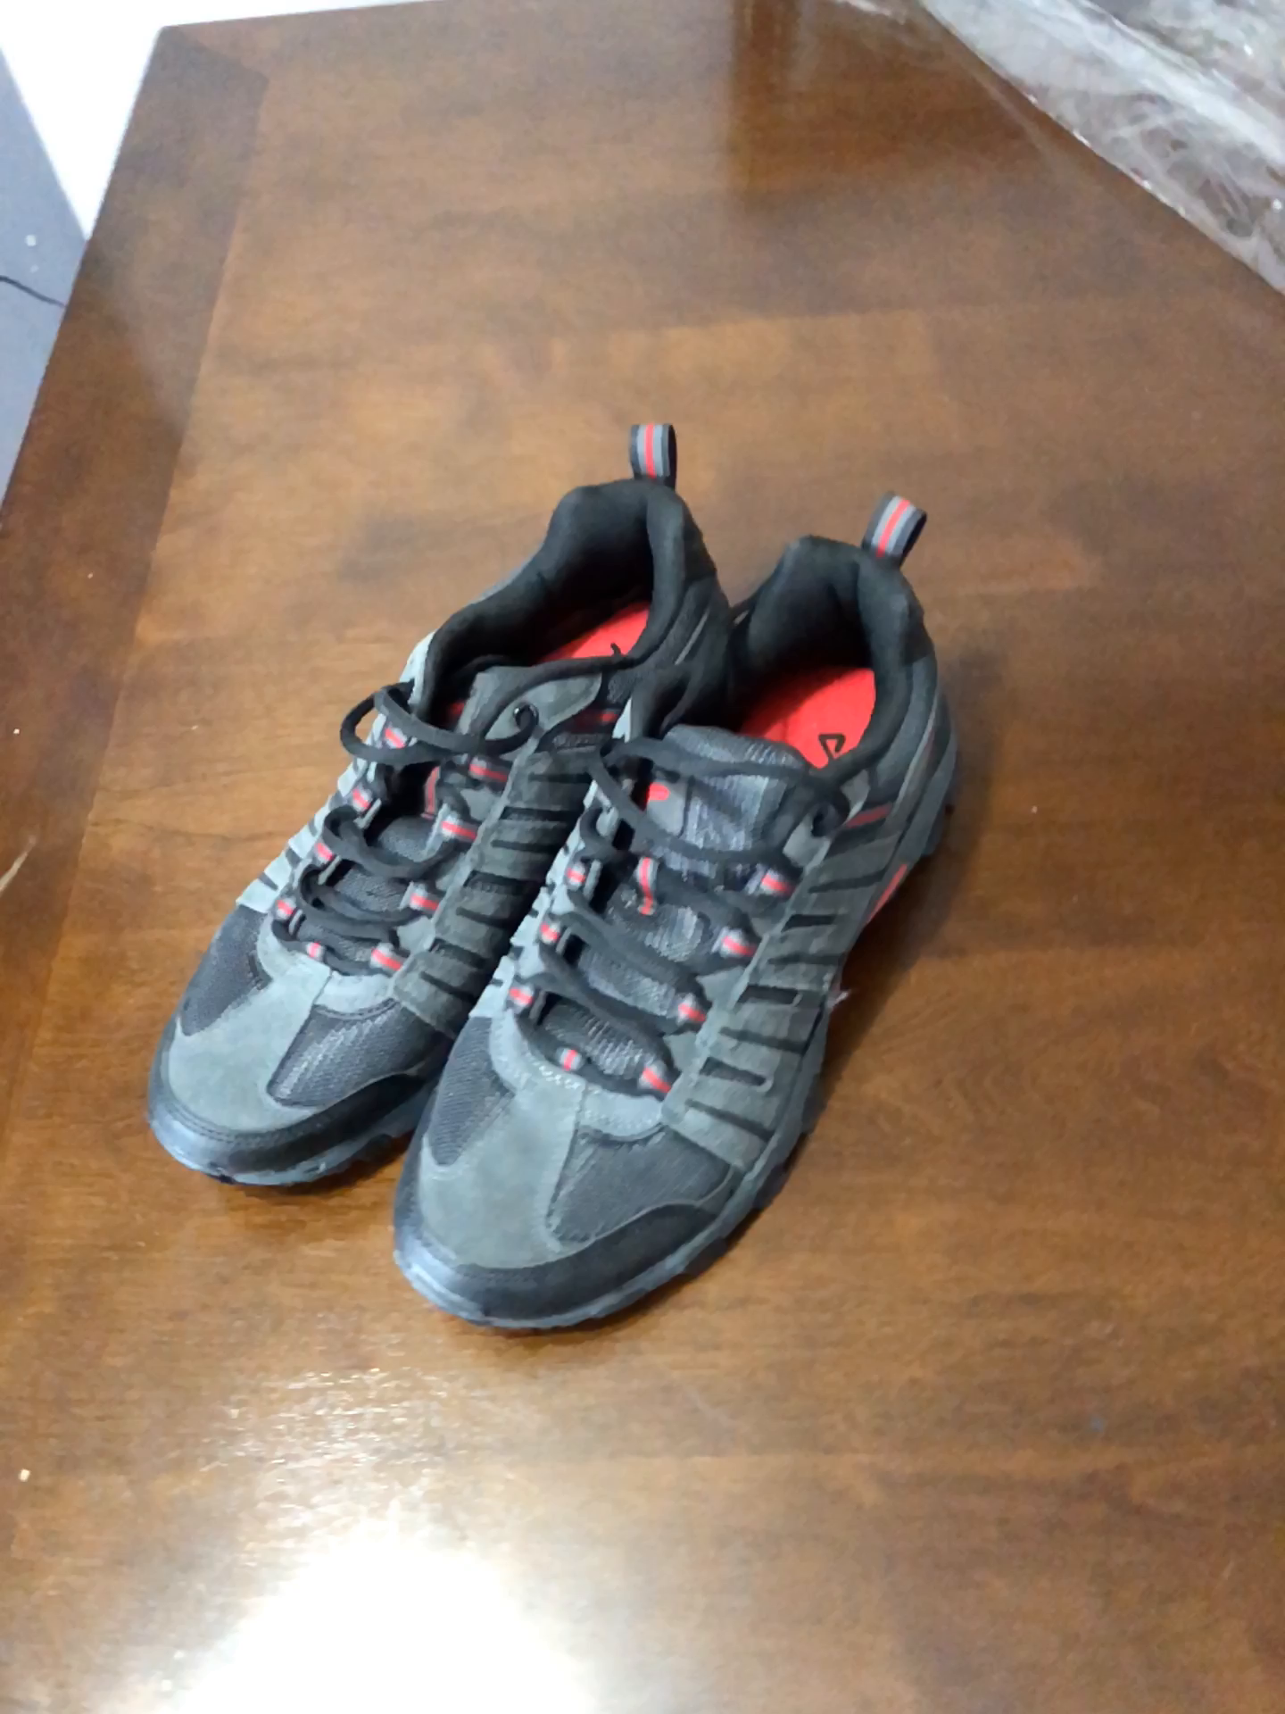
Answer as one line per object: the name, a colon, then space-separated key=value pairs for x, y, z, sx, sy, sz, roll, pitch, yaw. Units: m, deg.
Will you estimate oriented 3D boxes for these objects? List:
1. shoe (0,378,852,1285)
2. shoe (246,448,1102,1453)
shoe: x=-0.061 y=-0.022 z=0.499 sx=0.120 sy=0.100 sz=0.300 roll=31 pitch=65 yaw=23
shoe: x=0.027 y=0.015 z=0.466 sx=0.120 sy=0.100 sz=0.300 roll=25 pitch=63 yaw=20
